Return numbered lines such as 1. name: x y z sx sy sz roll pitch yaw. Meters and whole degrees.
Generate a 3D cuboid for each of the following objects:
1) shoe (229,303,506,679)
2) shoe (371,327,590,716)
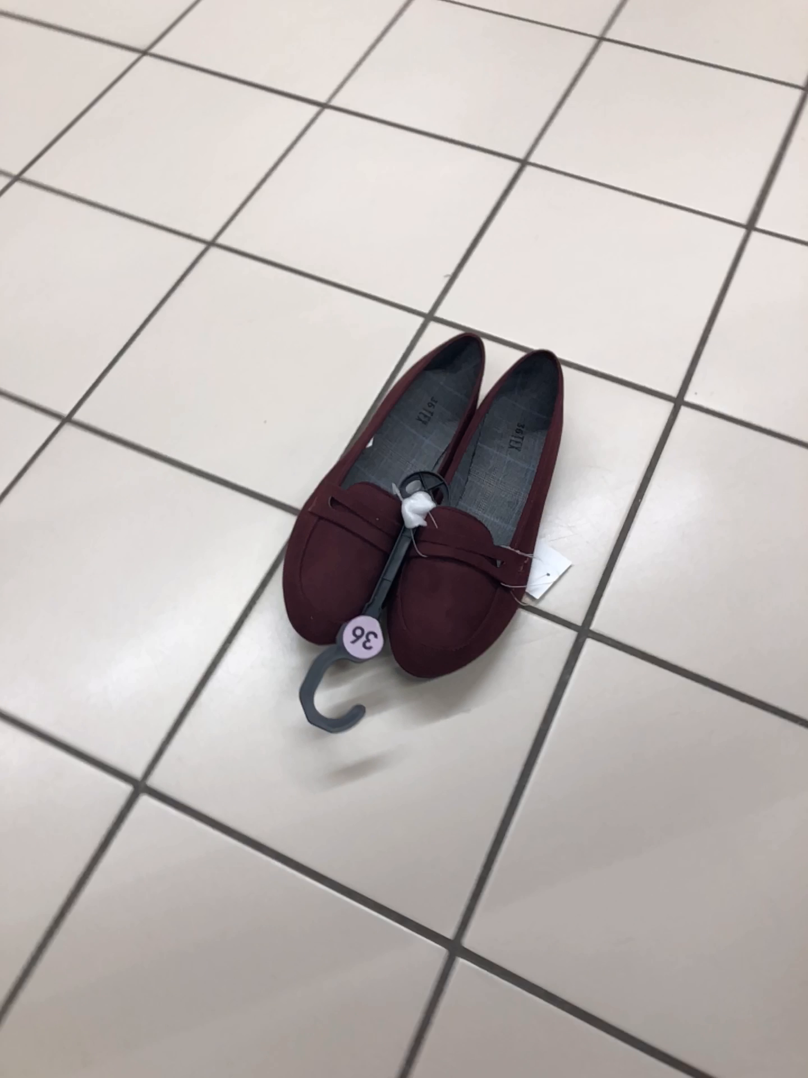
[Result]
1. shoe: -0.015 -0.039 0.572 0.078 0.057 0.240 20 62 12
2. shoe: 0.053 -0.020 0.560 0.078 0.056 0.240 13 61 8
